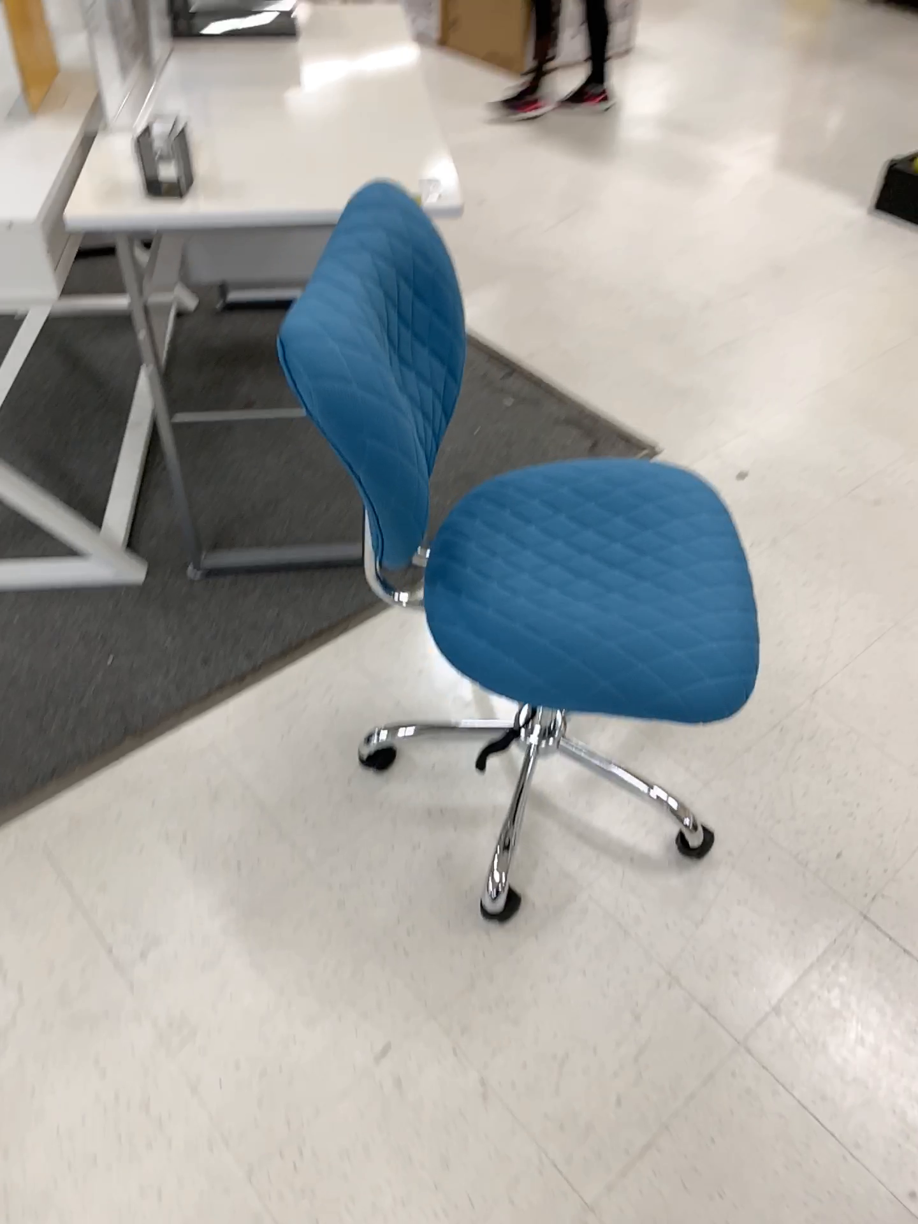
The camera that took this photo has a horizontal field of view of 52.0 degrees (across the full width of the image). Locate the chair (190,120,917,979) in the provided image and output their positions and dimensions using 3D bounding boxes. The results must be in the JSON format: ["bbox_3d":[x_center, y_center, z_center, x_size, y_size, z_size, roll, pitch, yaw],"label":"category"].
[{"bbox_3d":[0.131,-0.054,1.254,0.630,0.875,0.613,9,45,6],"label":"chair"}]
